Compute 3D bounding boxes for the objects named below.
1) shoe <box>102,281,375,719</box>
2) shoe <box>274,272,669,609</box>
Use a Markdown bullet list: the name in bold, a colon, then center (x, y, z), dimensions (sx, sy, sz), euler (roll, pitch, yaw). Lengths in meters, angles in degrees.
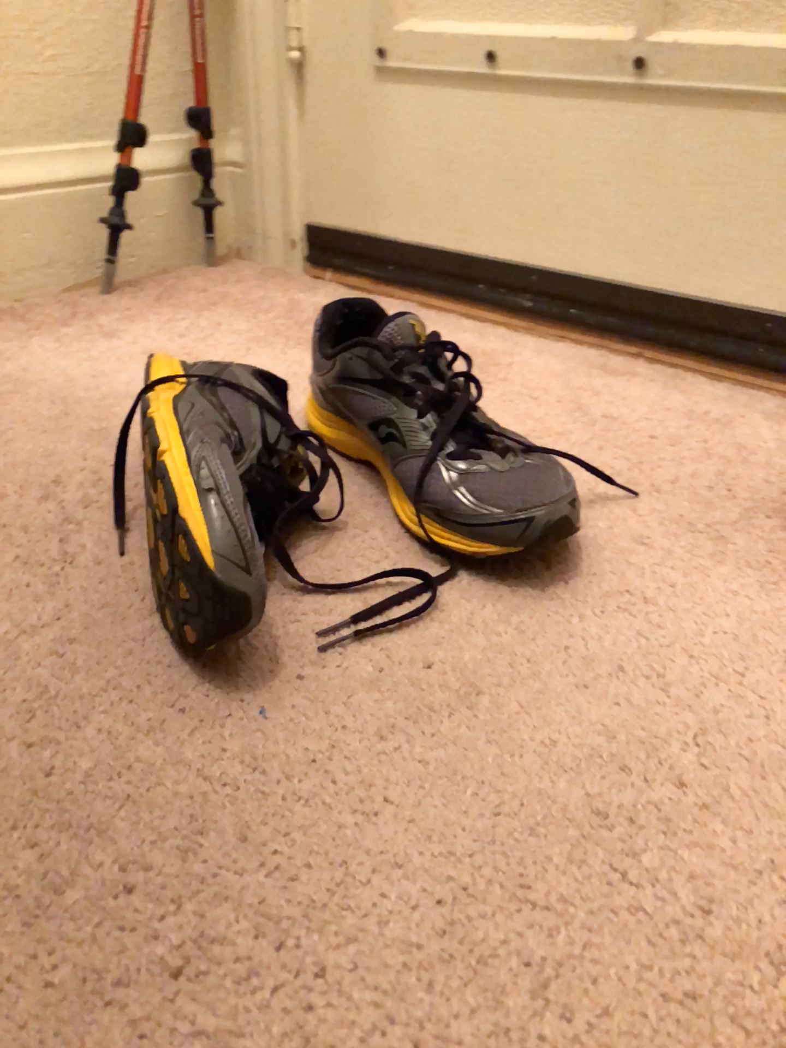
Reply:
- **shoe**: center (-0.103, -0.040, 0.510), dimensions (0.109, 0.117, 0.295), euler (-9, 32, -13)
- **shoe**: center (0.029, -0.076, 0.569), dimensions (0.118, 0.098, 0.284), euler (-13, 33, -23)
